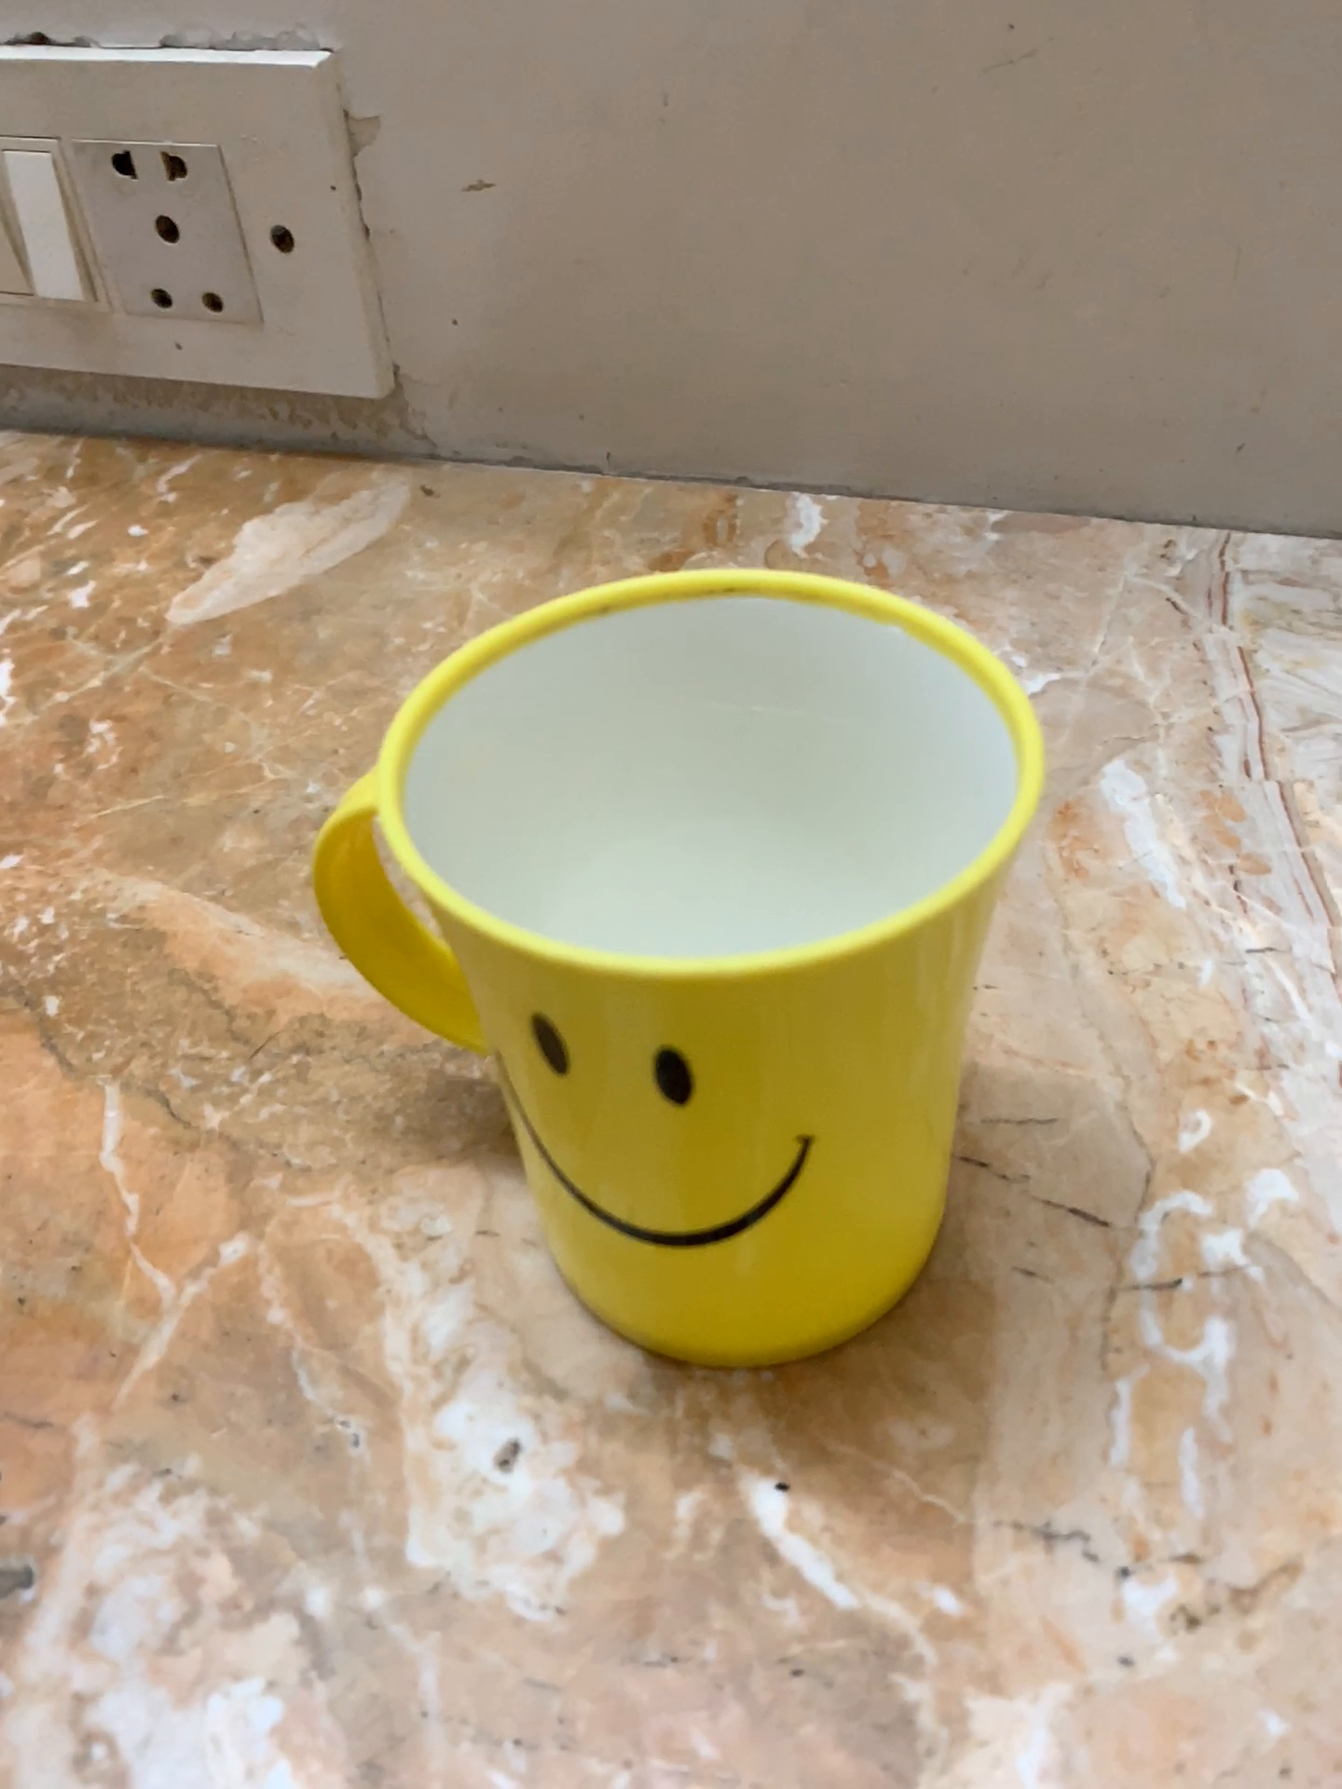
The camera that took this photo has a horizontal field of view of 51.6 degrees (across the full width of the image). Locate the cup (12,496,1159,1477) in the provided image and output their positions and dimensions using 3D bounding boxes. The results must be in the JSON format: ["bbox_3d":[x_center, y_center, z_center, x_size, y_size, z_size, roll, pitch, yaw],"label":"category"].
[{"bbox_3d":[-0.002,0.009,0.183,0.110,0.089,0.071,9,45,15],"label":"cup"}]
